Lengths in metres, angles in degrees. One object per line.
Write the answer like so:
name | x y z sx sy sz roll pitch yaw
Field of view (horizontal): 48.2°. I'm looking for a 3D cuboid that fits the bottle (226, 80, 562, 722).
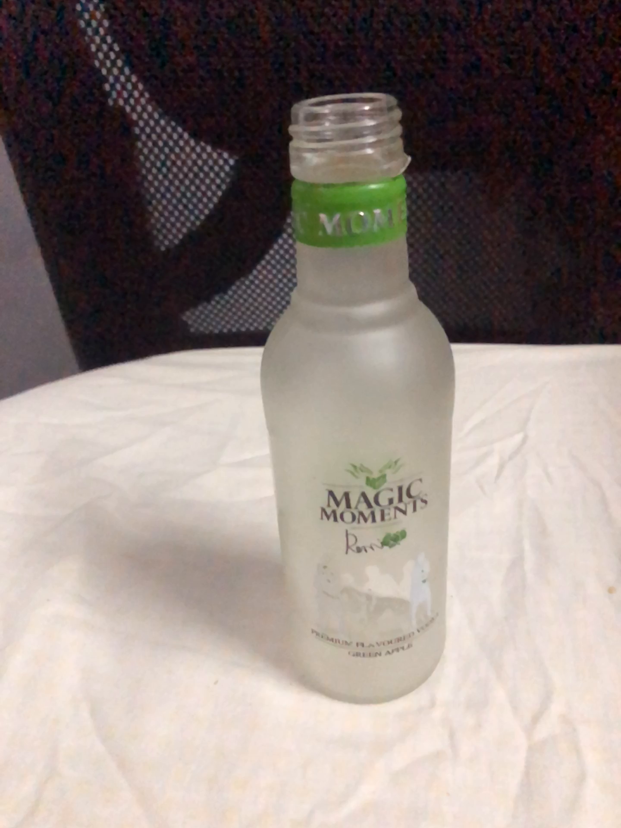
bottle | 0.018 0.007 0.189 0.060 0.169 0.050 -4 32 0
